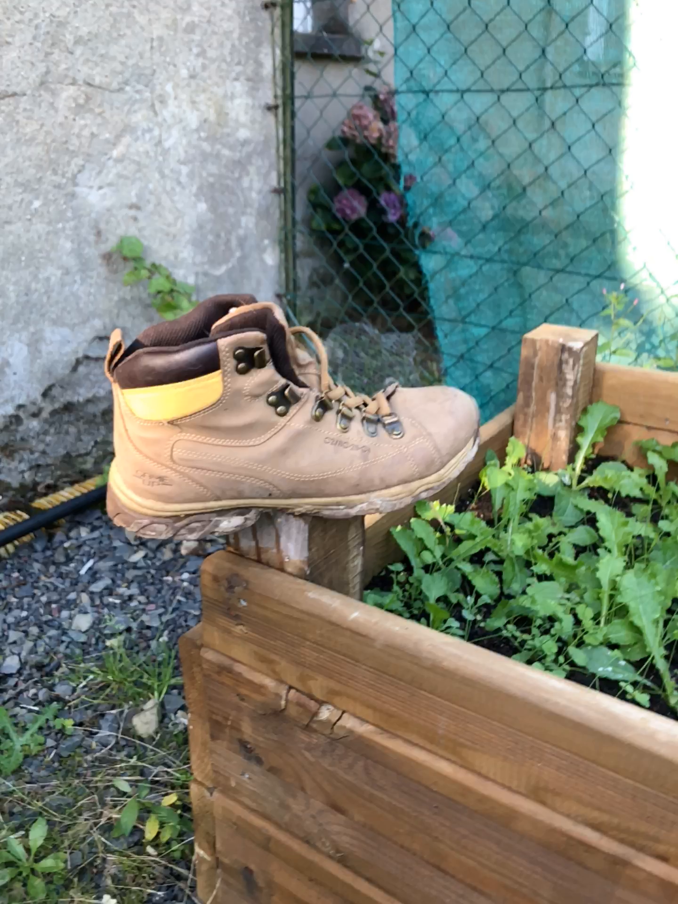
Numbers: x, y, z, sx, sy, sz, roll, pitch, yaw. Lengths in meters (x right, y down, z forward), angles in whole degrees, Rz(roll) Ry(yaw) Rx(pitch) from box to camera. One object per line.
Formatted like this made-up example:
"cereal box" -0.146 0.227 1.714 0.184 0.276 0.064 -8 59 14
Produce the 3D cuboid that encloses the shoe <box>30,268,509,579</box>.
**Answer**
"shoe" -0.041 -0.030 0.503 0.281 0.149 0.100 -8 24 -15
